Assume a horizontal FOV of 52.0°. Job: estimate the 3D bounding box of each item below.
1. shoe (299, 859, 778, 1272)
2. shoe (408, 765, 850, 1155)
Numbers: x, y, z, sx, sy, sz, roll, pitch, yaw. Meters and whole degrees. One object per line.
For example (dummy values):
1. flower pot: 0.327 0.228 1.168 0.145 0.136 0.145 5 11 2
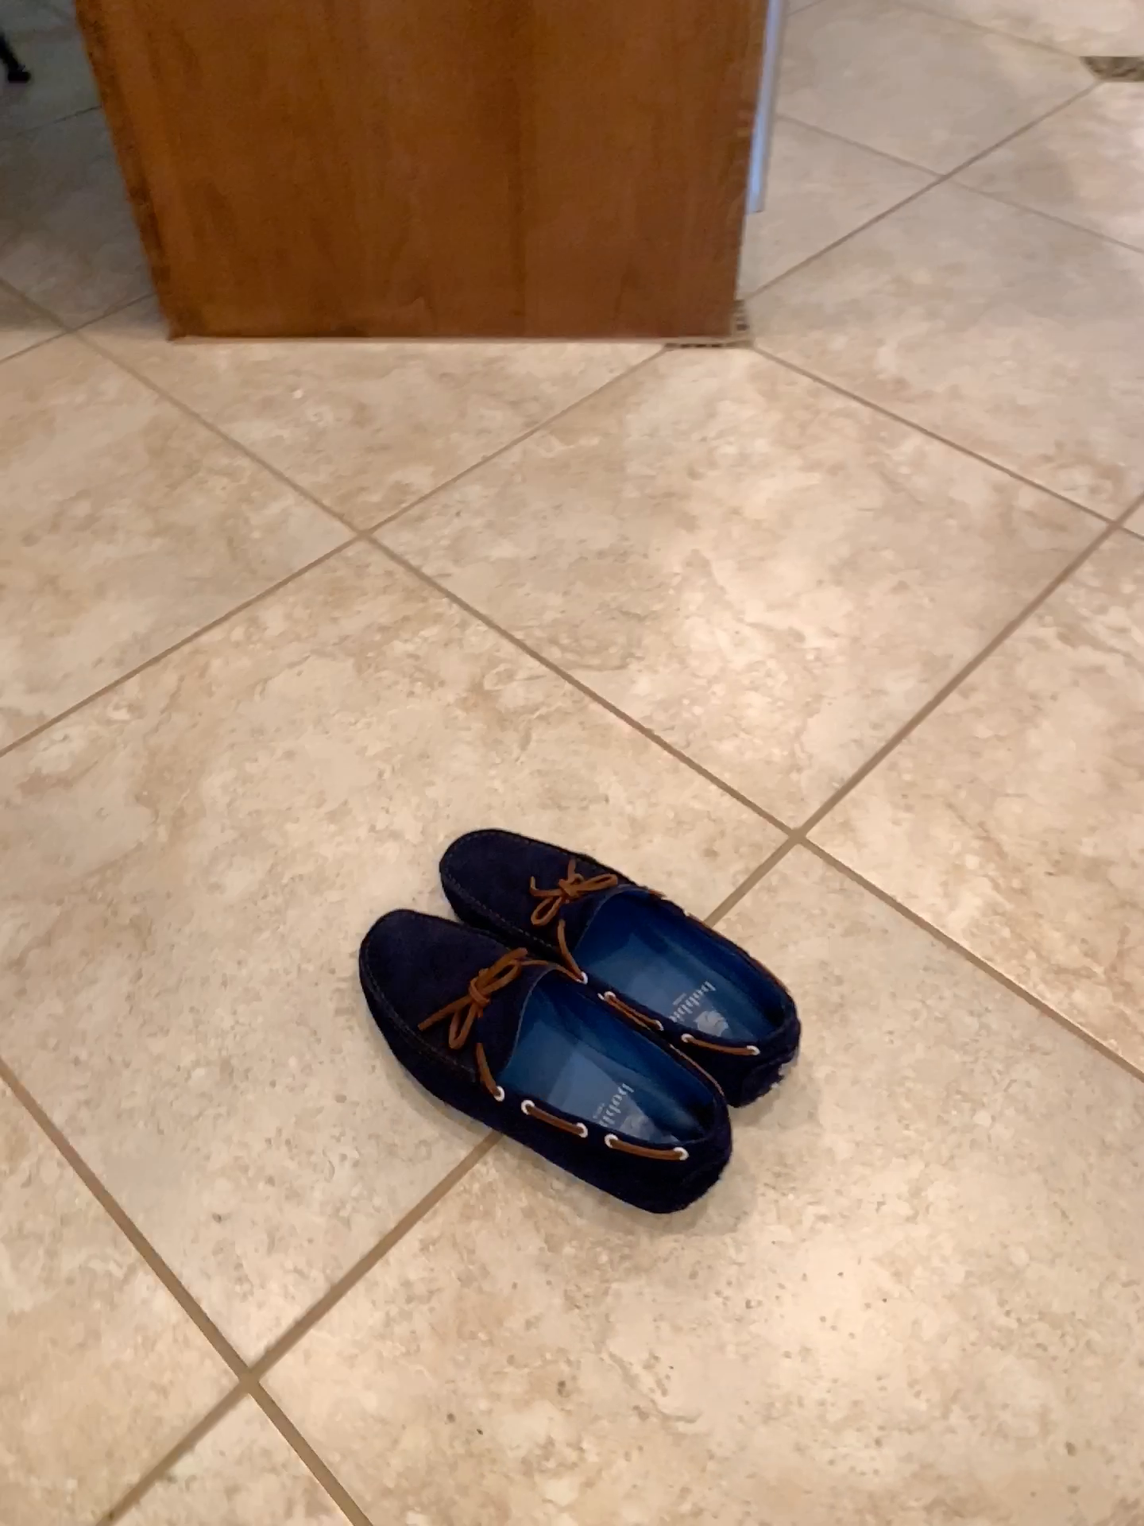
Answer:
1. shoe: -0.025 0.180 0.730 0.281 0.074 0.099 28 55 21
2. shoe: 0.030 0.122 0.781 0.281 0.074 0.099 32 57 24
